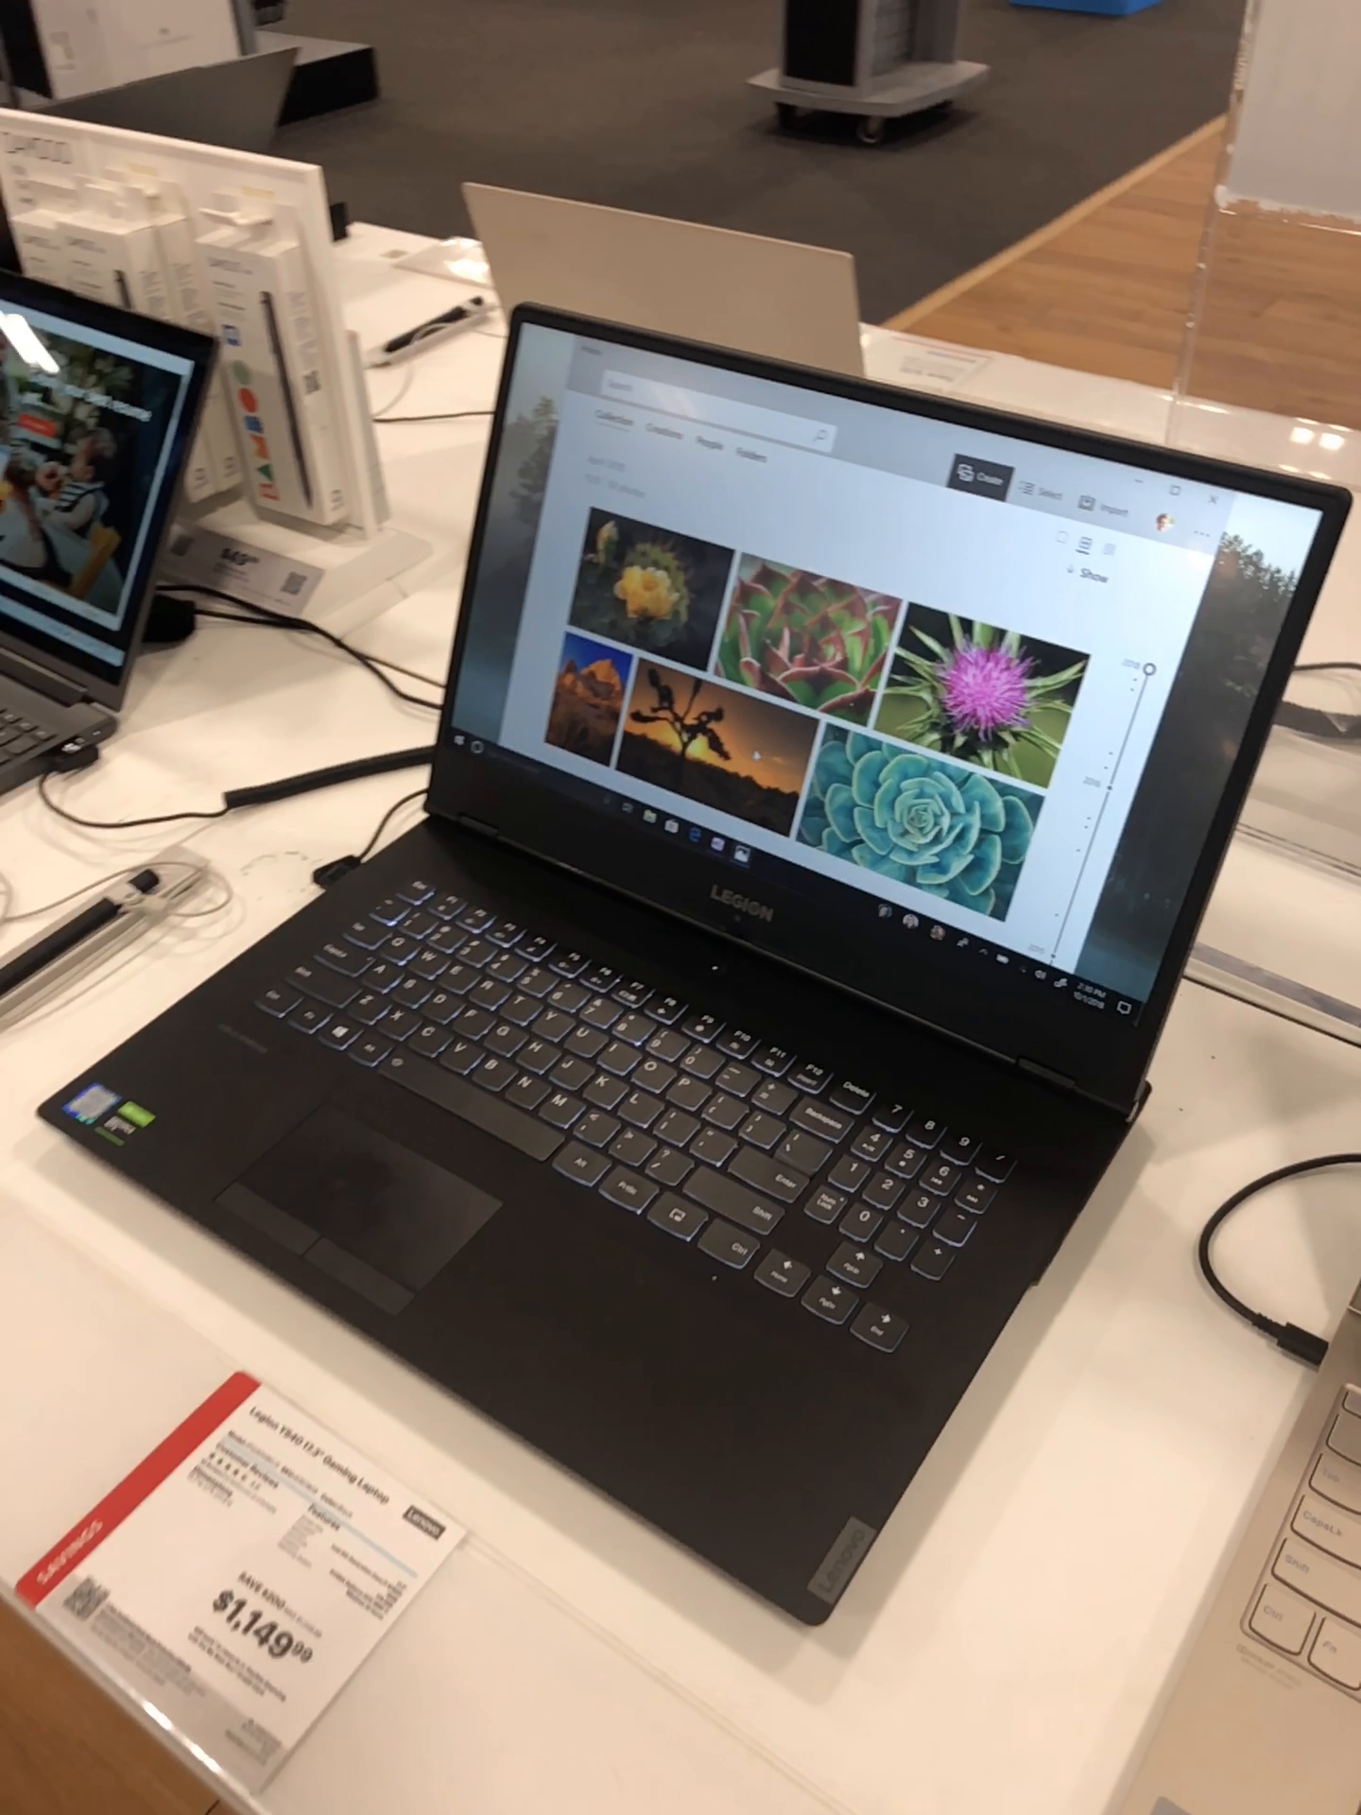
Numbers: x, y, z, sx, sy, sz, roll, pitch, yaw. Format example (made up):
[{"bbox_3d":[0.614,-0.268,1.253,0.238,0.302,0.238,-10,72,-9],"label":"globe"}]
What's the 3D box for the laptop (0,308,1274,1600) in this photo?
[{"bbox_3d":[-0.028,-0.033,0.610,0.383,0.241,0.358,24,45,25],"label":"laptop"}]
